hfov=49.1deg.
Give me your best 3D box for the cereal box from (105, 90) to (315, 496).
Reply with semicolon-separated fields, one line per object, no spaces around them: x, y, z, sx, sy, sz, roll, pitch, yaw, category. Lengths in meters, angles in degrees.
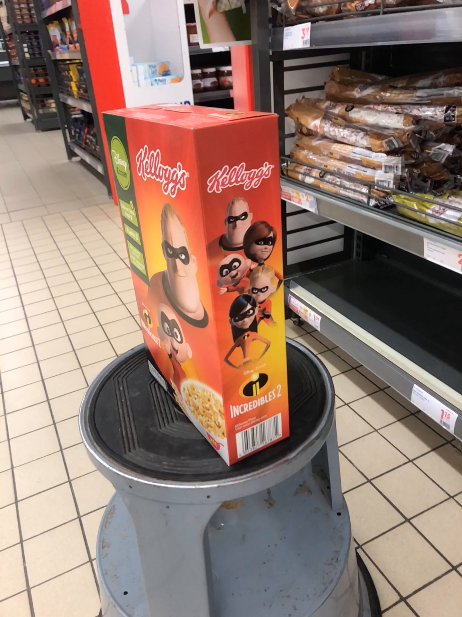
-0.017;-0.024;0.461;0.080;0.308;0.201;-18;30;-24;cereal box
